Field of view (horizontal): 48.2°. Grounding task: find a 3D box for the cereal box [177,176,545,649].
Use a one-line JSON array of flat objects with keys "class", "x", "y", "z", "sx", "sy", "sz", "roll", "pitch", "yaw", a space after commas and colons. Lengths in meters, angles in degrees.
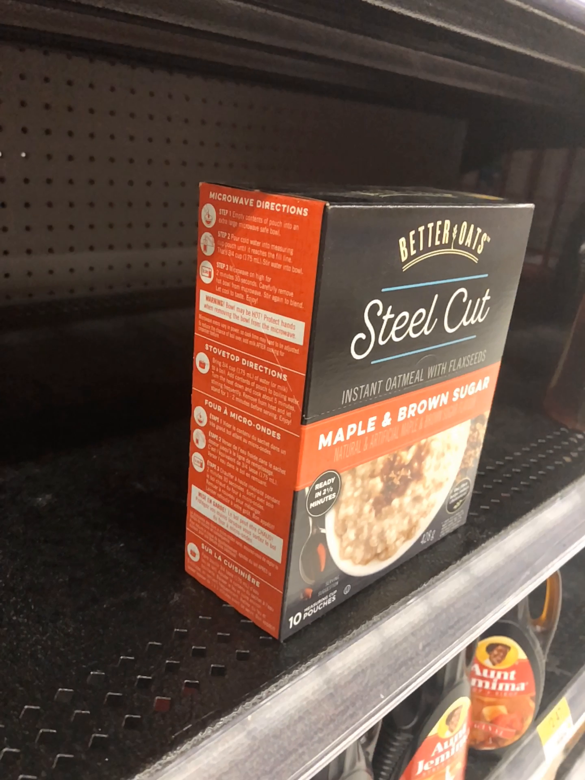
[{"class": "cereal box", "x": 0.034, "y": -0.003, "z": 0.317, "sx": 0.070, "sy": 0.179, "sz": 0.160, "roll": 24, "pitch": 27, "yaw": 38}]
